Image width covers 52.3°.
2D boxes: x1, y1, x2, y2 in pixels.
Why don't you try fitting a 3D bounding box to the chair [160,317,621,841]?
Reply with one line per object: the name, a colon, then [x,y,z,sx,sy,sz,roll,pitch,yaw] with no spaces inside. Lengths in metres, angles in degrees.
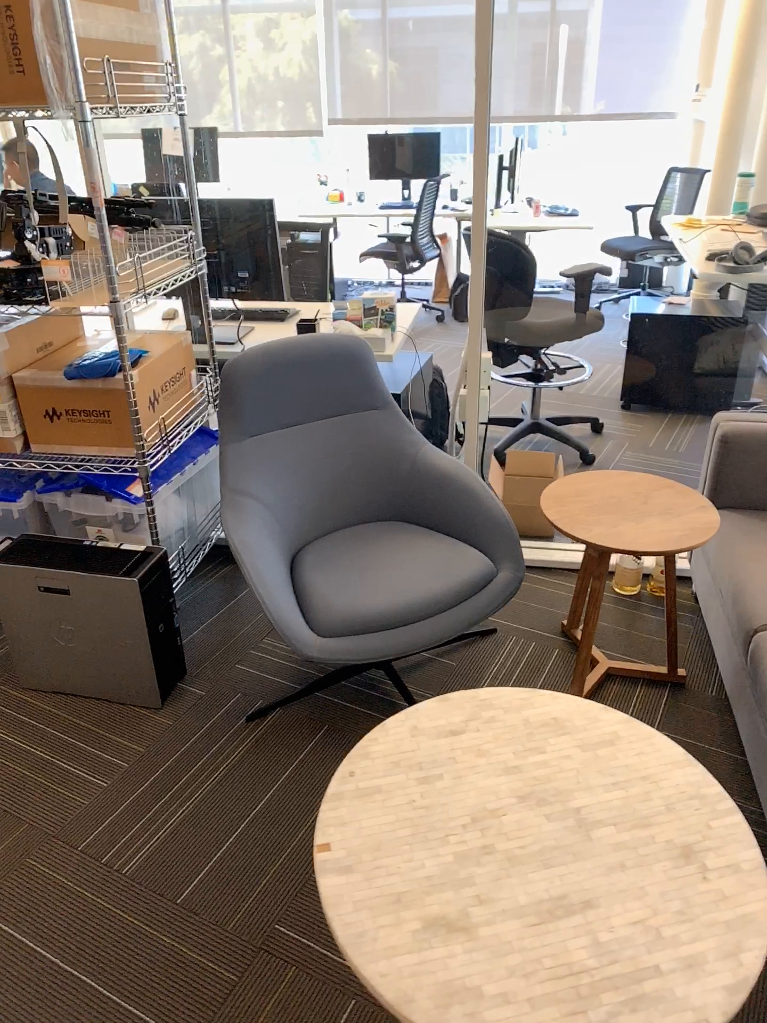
chair: [-0.040,0.082,2.266,0.840,0.965,1.005,-14,30,-23]
